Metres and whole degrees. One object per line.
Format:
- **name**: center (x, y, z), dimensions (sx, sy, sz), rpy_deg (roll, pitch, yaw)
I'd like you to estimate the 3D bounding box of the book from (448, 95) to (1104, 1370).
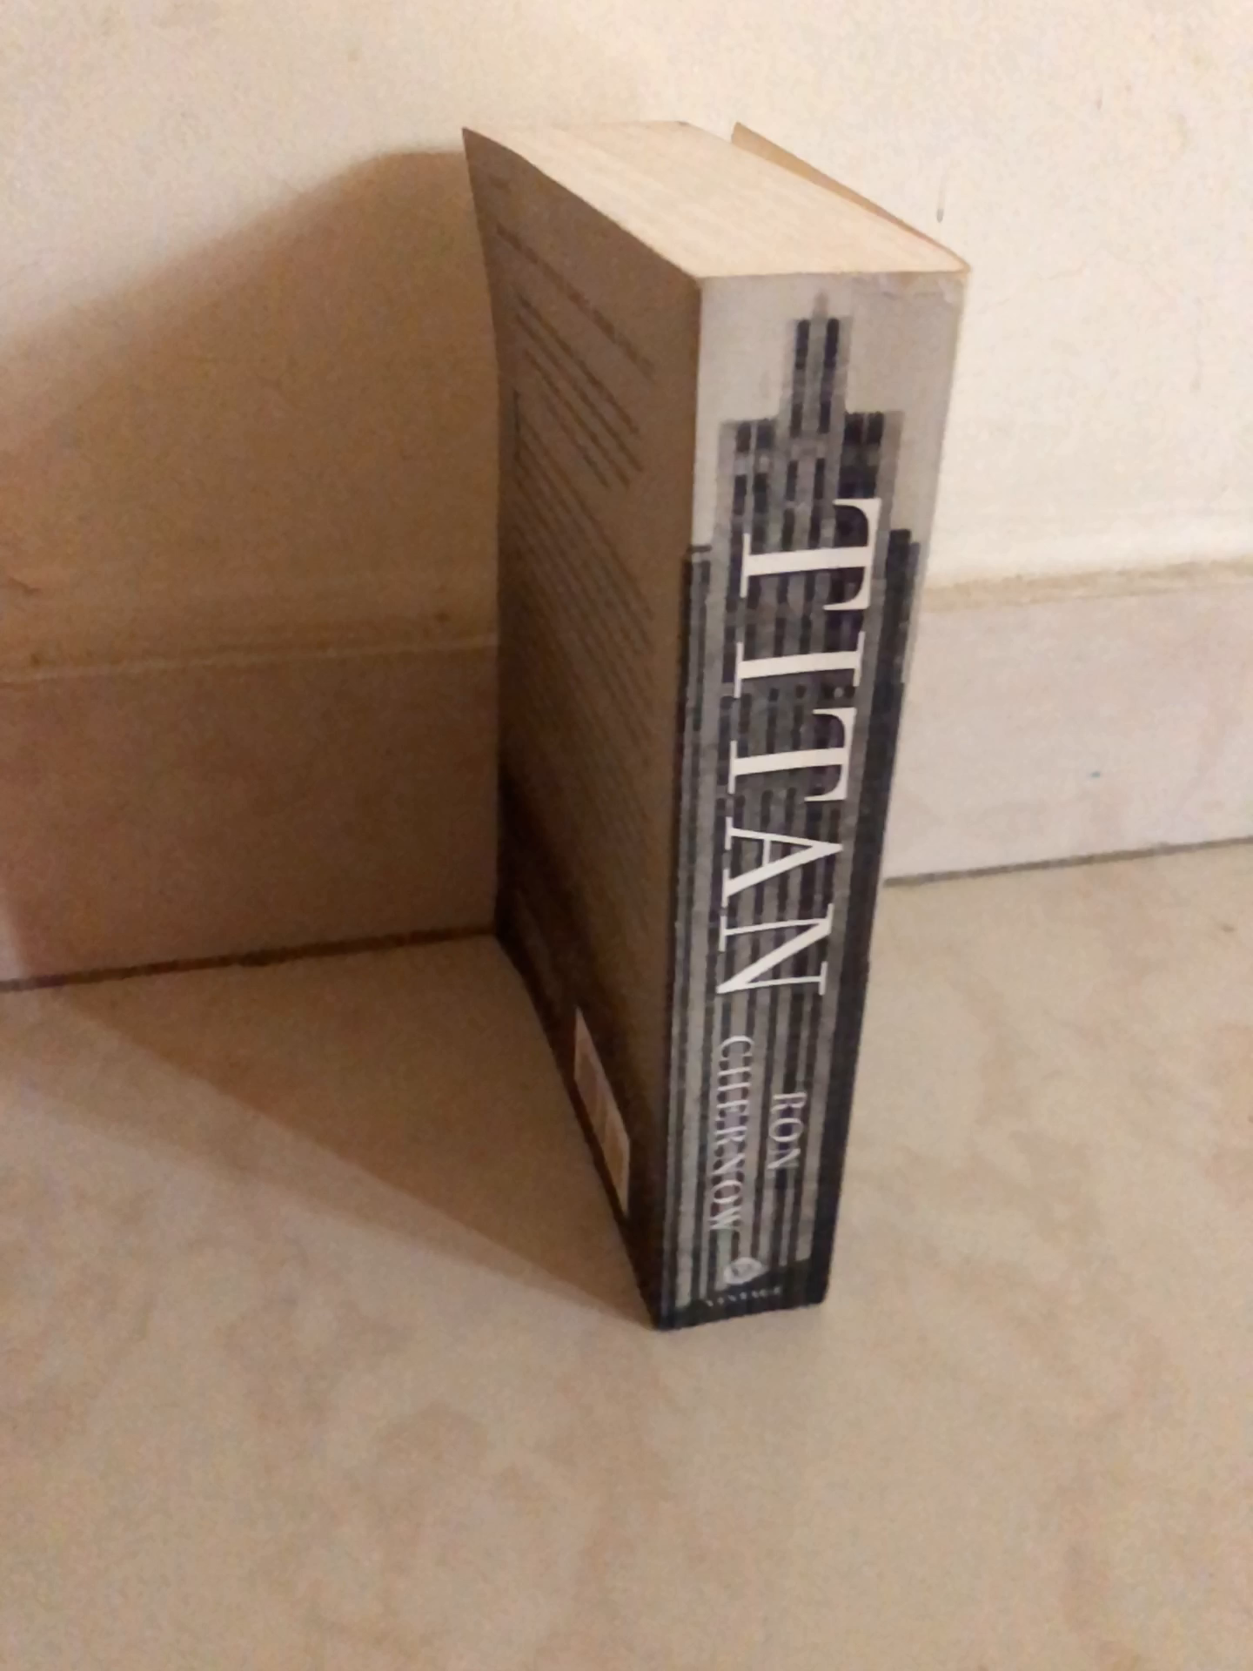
- **book**: center (0.009, -0.036, 0.333), dimensions (0.060, 0.229, 0.201), rpy_deg (-8, 34, -13)
